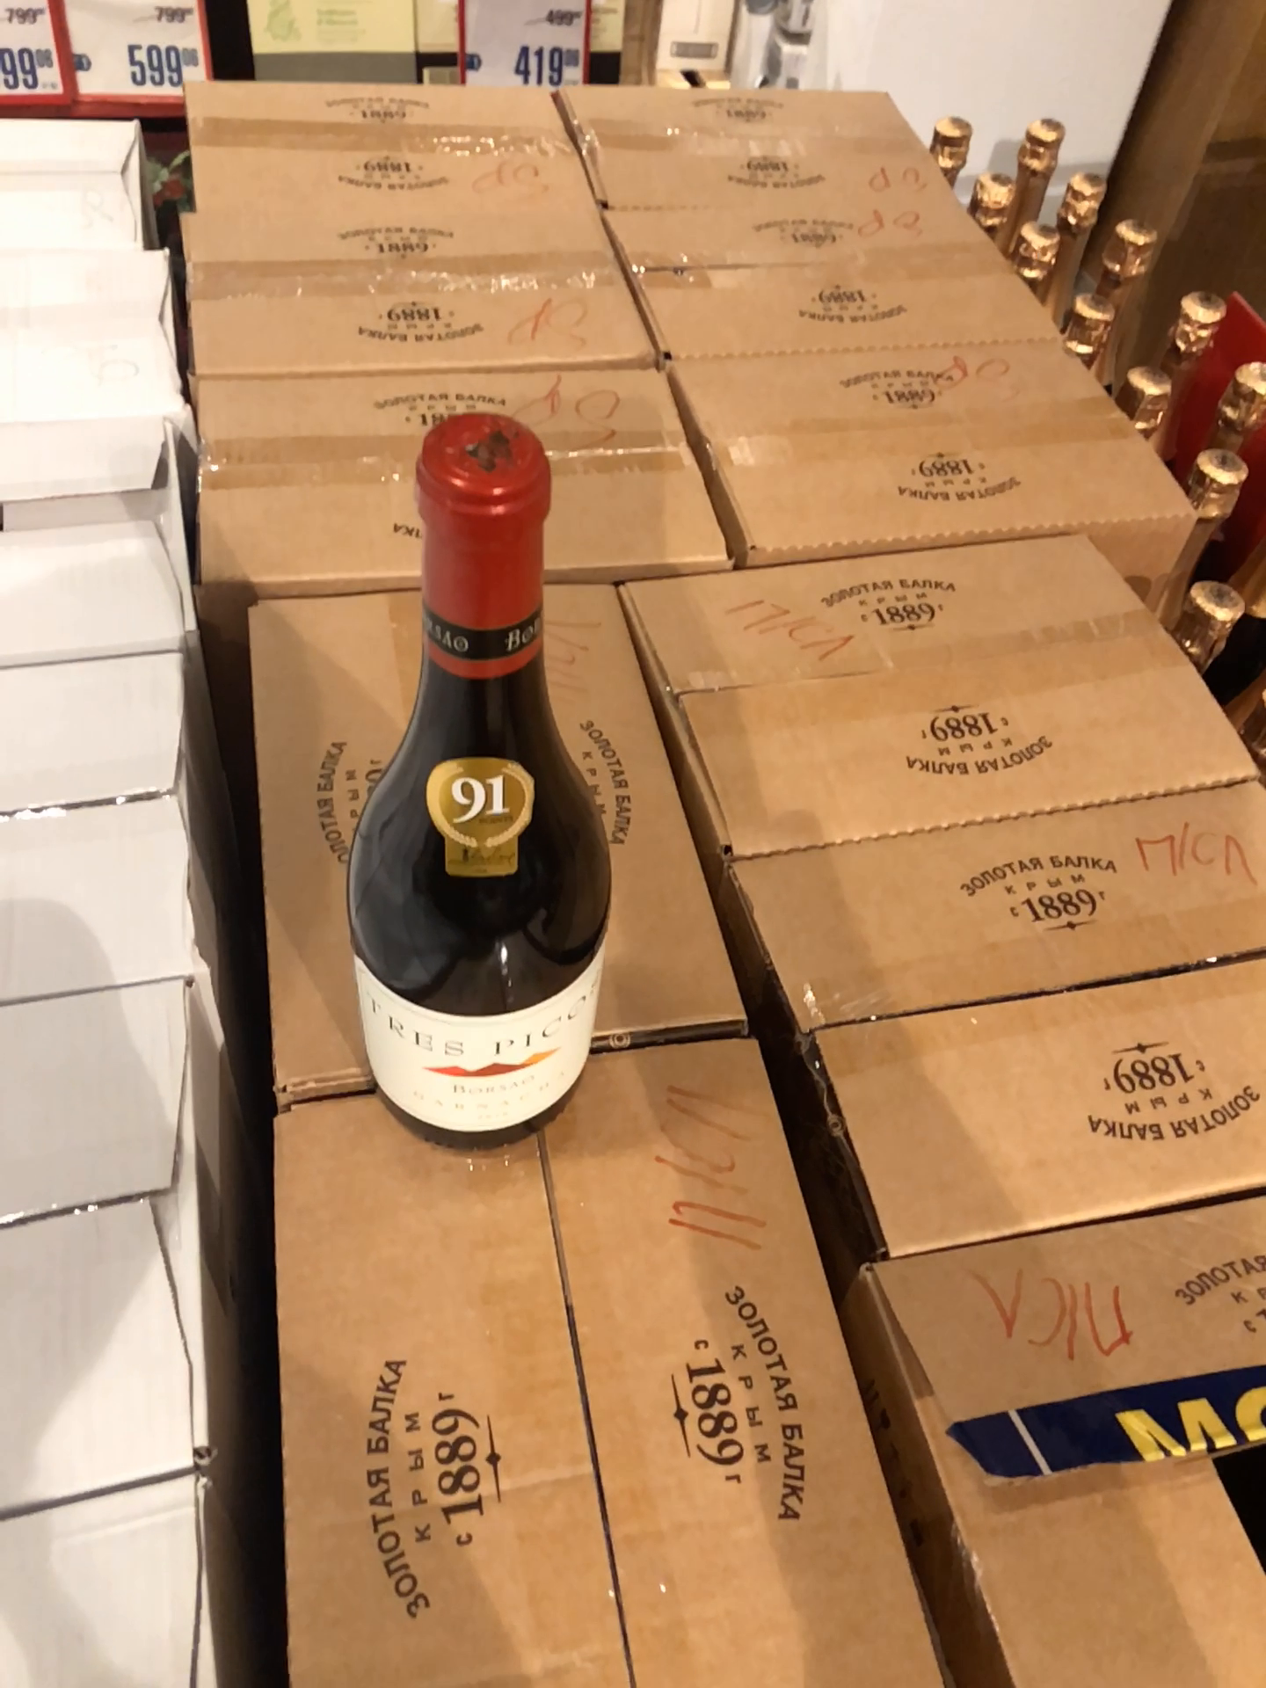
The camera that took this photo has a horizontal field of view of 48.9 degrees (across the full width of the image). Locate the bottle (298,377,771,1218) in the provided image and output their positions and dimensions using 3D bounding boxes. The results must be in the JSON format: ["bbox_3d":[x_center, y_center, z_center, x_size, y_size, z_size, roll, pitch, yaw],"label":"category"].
[{"bbox_3d":[-0.040,0.005,0.428,0.100,0.268,0.101,4,50,-5],"label":"bottle"}]
